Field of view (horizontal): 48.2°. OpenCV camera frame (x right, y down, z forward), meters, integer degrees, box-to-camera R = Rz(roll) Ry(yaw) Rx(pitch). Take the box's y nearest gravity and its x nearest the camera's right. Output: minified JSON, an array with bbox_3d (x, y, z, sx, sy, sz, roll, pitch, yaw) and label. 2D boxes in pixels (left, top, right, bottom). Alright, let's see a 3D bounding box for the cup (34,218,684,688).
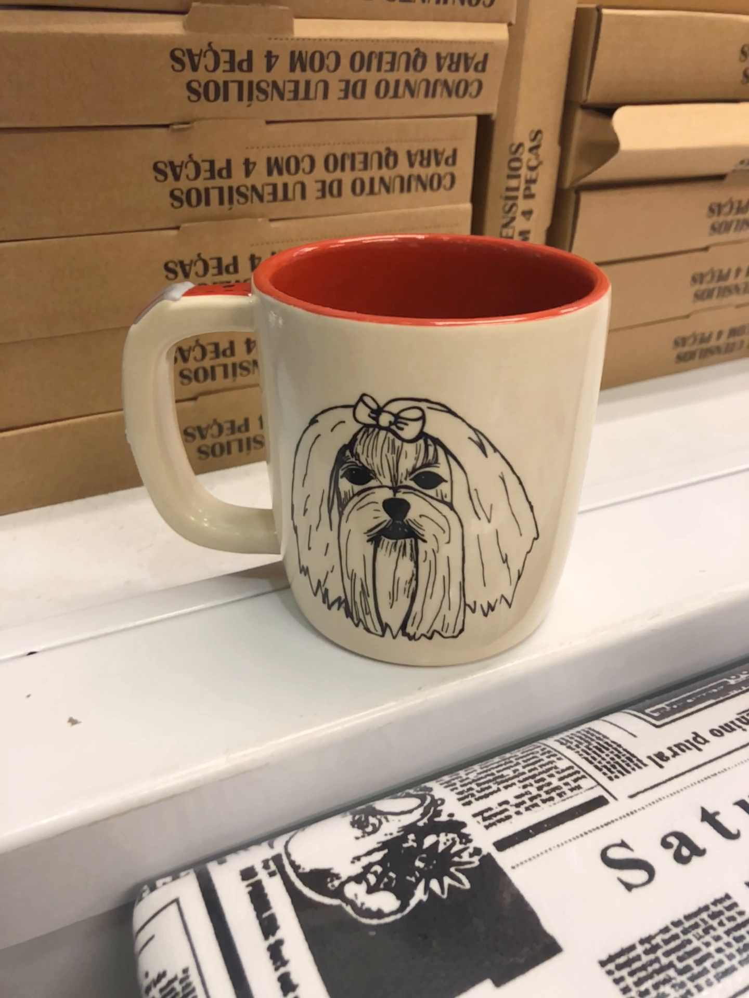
[{"bbox_3d":[-0.003,-0.017,0.215,0.120,0.089,0.091,0,29,-1],"label":"cup"}]
